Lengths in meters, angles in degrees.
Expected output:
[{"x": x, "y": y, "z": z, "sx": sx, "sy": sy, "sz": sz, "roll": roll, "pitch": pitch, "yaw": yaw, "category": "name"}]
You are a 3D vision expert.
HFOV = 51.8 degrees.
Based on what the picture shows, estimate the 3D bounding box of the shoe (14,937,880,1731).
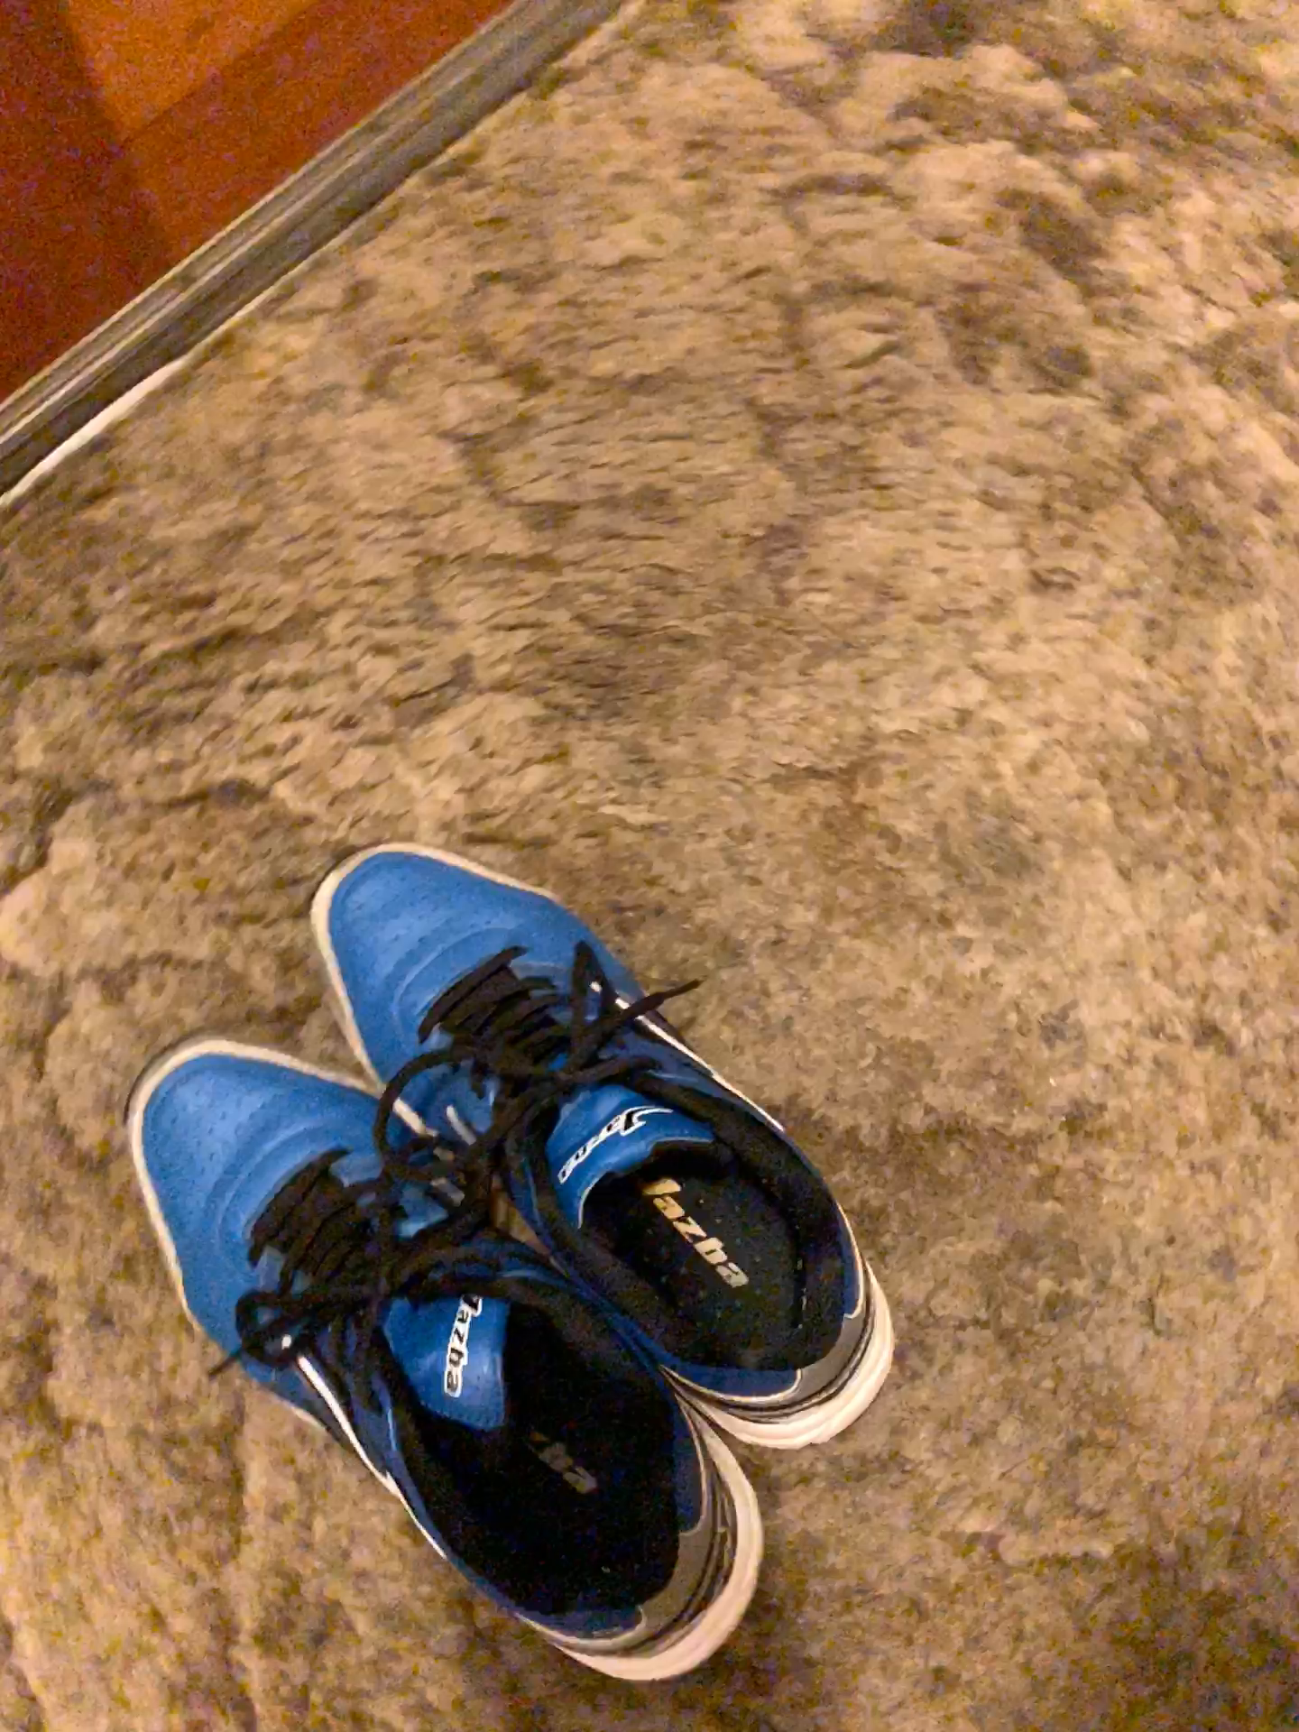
[{"x": -0.067, "y": 0.164, "z": 0.457, "sx": 0.270, "sy": 0.119, "sz": 0.100, "roll": 39, "pitch": 73, "yaw": 17, "category": "shoe"}]

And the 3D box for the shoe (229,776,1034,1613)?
[{"x": -0.013, "y": 0.114, "z": 0.494, "sx": 0.100, "sy": 0.119, "sz": 0.281, "roll": -42, "pitch": 71, "yaw": -15, "category": "shoe"}]
